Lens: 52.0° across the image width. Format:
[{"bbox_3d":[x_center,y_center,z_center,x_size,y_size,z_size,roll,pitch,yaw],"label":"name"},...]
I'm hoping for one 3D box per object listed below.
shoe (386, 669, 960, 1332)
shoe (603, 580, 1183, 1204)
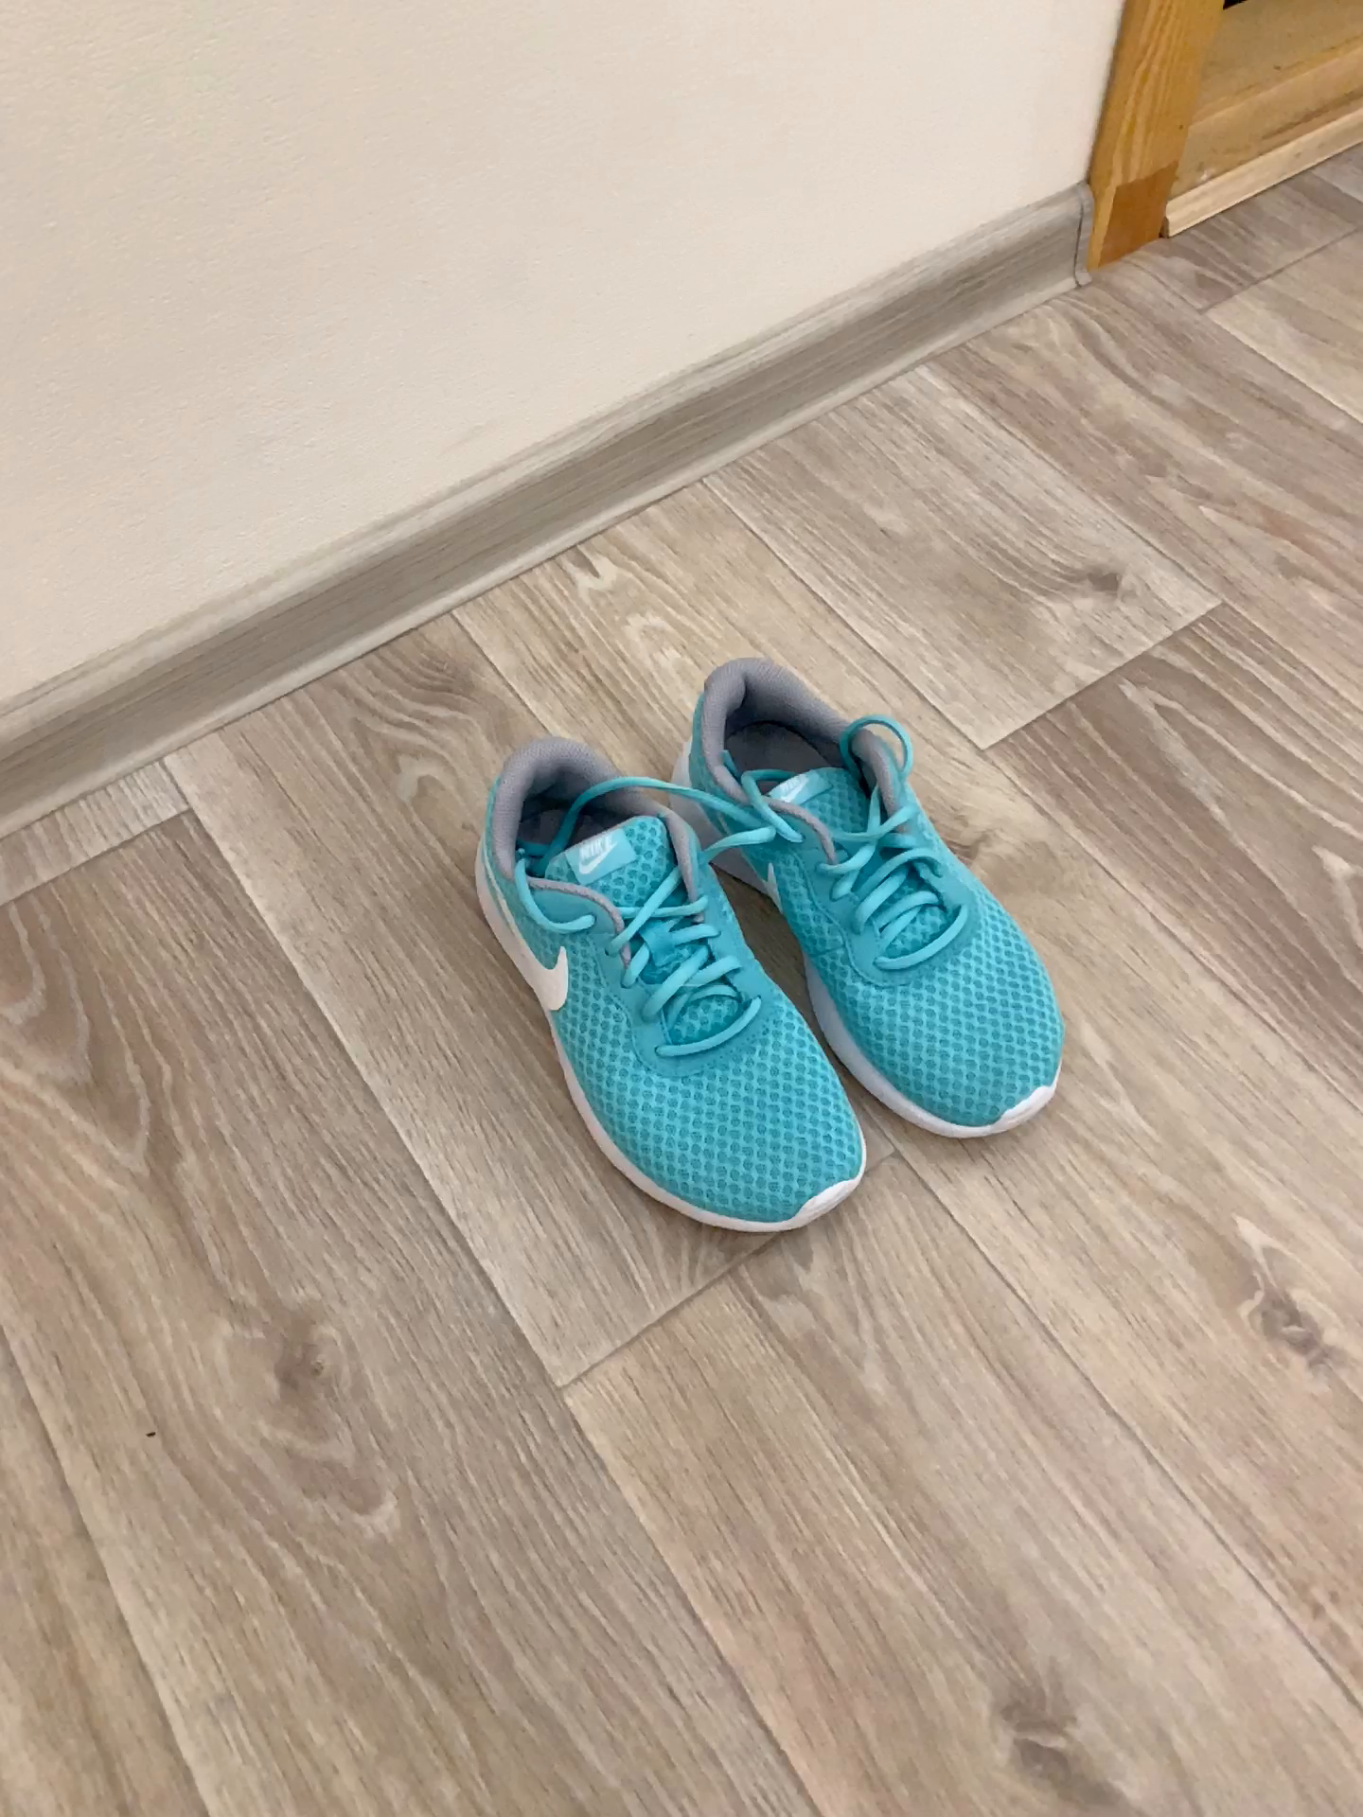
[{"bbox_3d":[-0.011,0.030,0.580,0.101,0.090,0.251,-30,62,-16],"label":"shoe"},{"bbox_3d":[0.078,-0.014,0.602,0.098,0.090,0.251,-30,62,-16],"label":"shoe"}]
